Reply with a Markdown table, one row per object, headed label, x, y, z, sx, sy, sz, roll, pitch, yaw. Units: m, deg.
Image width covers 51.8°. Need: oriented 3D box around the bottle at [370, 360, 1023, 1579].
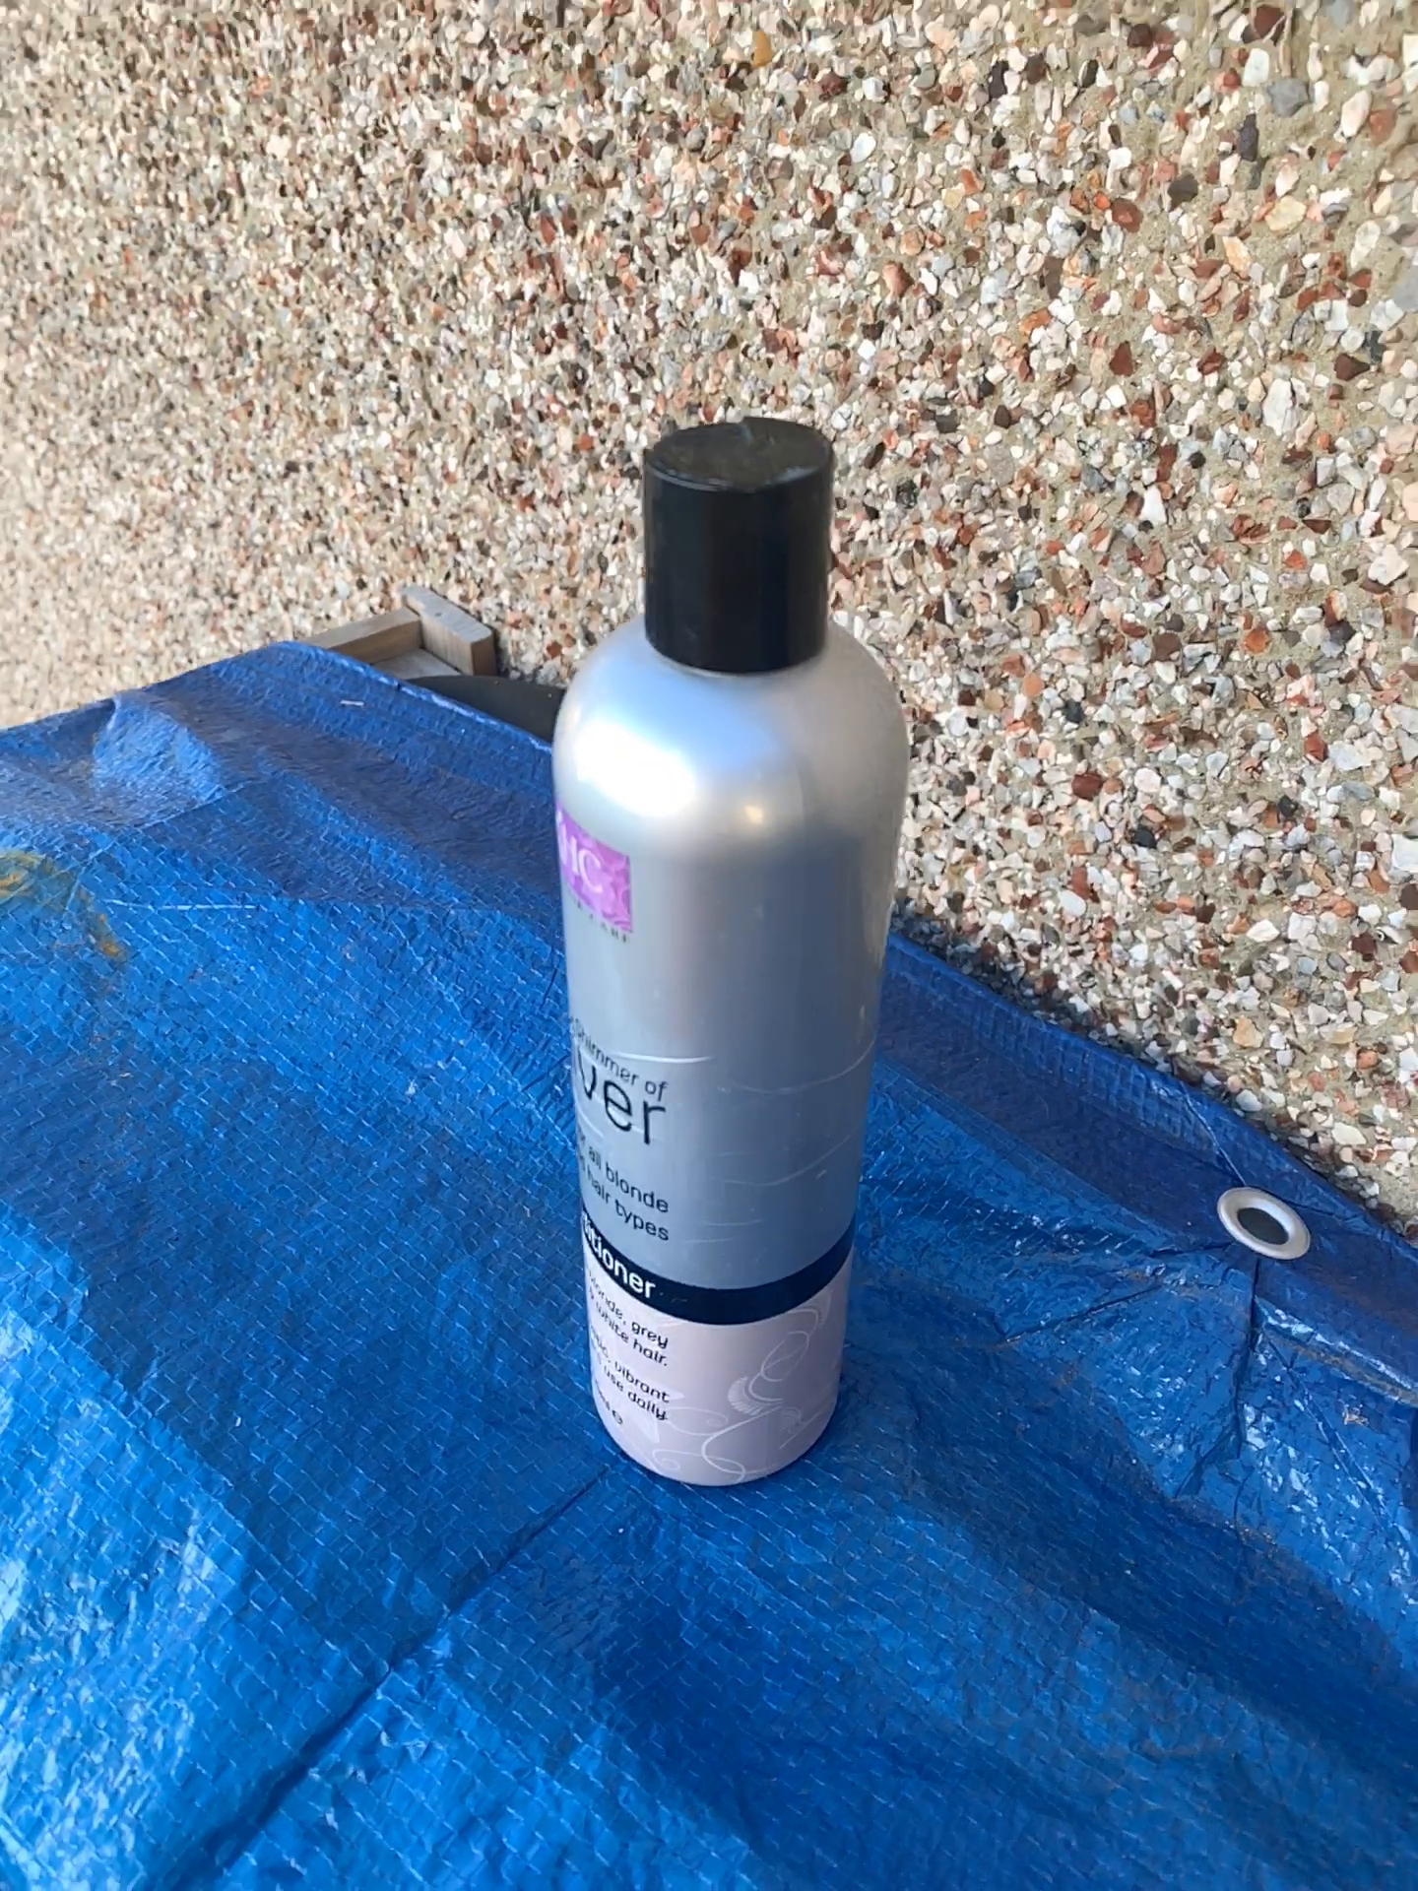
| label | x | y | z | sx | sy | sz | roll | pitch | yaw |
| --- | --- | --- | --- | --- | --- | --- | --- | --- | --- |
| bottle | -0.003 | 0.015 | 0.253 | 0.060 | 0.198 | 0.071 | -19 | 42 | -20 |
